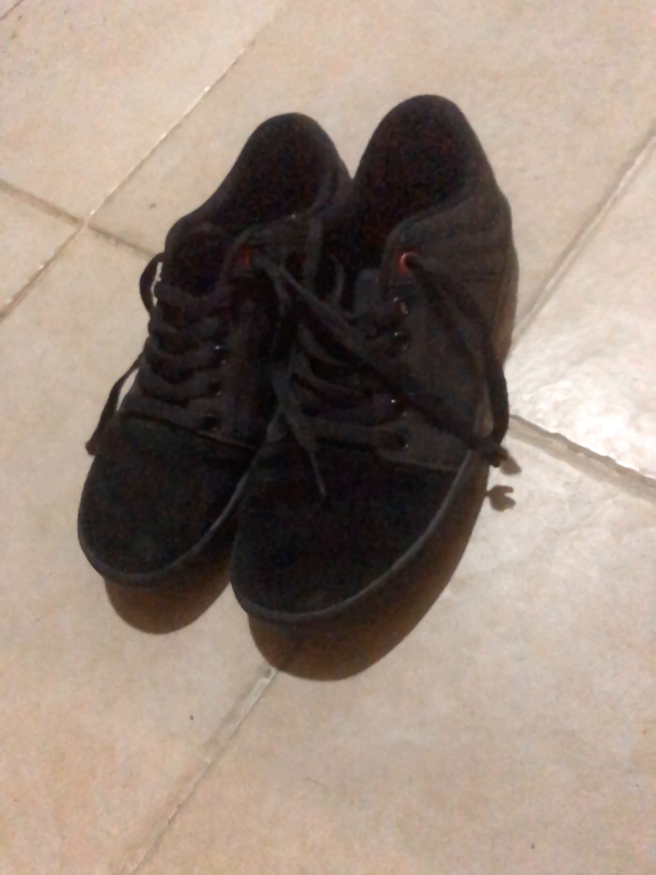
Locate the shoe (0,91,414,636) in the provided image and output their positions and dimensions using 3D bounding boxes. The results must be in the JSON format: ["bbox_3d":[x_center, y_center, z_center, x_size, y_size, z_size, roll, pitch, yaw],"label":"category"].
[{"bbox_3d":[-0.056,-0.045,0.362,0.100,0.099,0.241,14,67,27],"label":"shoe"}]

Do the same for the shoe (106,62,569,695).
[{"bbox_3d":[0.024,-0.034,0.316,0.100,0.099,0.241,11,66,25],"label":"shoe"}]
